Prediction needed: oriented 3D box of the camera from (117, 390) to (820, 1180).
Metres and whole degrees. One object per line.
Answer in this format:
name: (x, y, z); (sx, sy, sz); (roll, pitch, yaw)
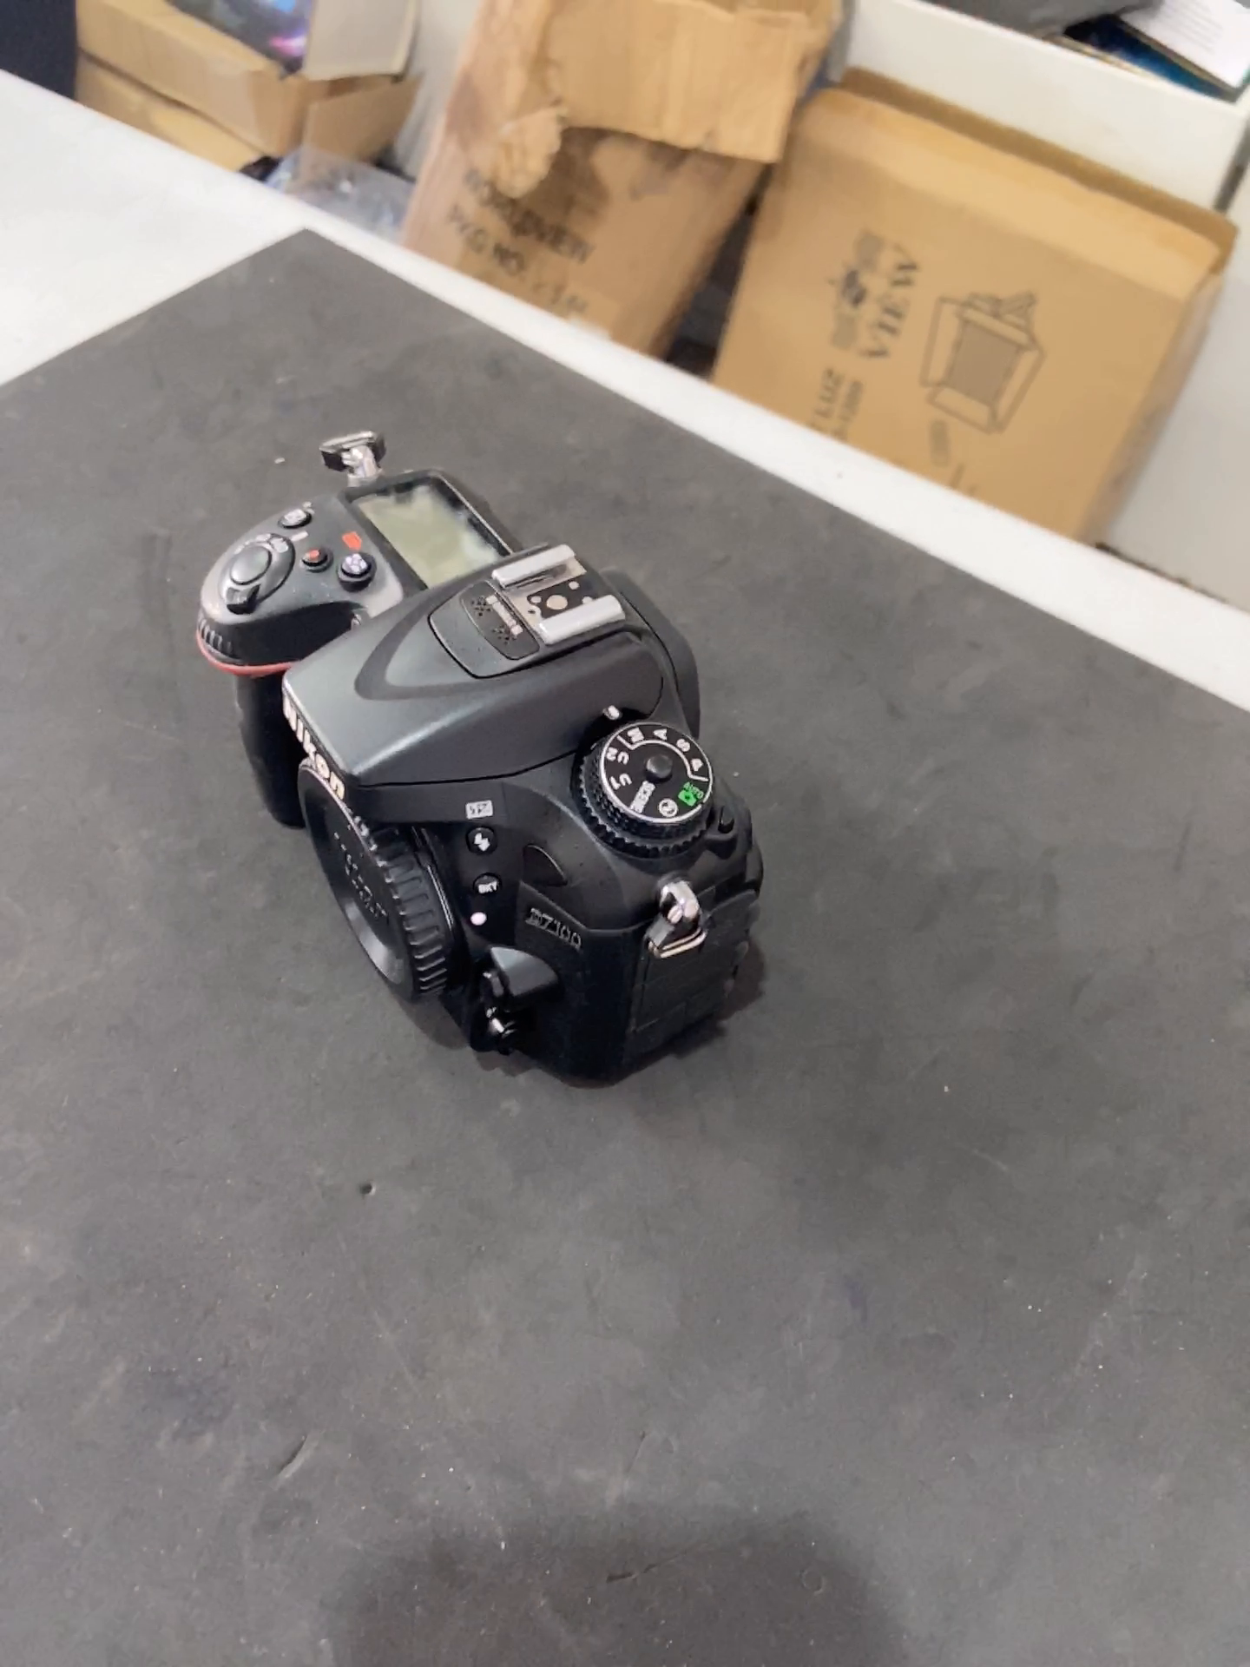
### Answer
camera: (-0.039, -0.015, 0.298); (0.078, 0.092, 0.140); (-29, 60, -24)
